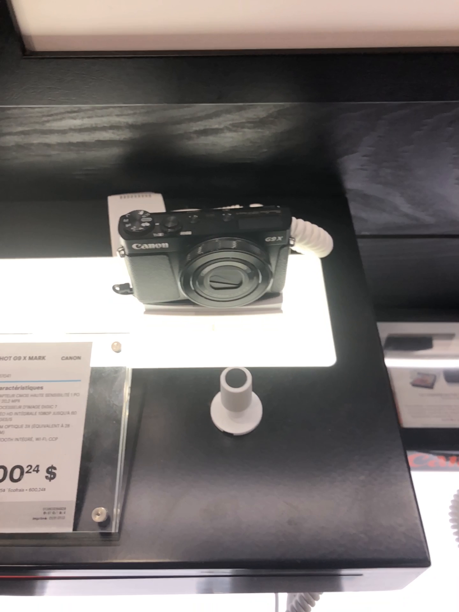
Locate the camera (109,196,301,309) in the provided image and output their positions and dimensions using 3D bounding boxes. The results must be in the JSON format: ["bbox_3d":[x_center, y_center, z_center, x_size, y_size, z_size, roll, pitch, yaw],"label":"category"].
[{"bbox_3d":[-0.013,-0.030,0.296,0.100,0.058,0.025,-4,49,-3],"label":"camera"}]
